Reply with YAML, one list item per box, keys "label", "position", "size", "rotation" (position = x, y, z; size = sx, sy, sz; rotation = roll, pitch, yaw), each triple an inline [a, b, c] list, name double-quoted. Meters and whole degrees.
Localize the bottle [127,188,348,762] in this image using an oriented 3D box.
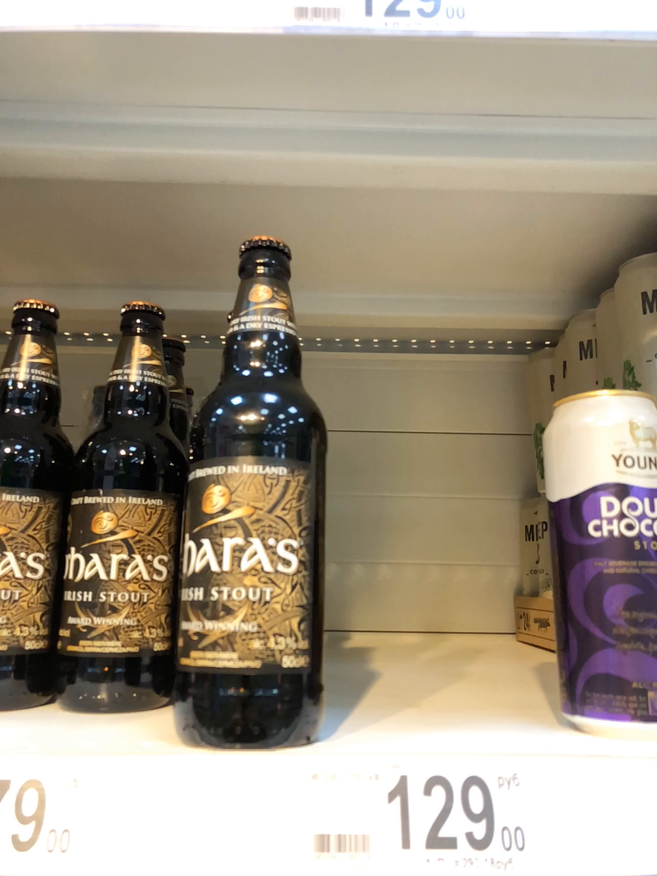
- label: "bottle"
  position: [-0.037, 0.014, 0.344]
  size: [0.070, 0.241, 0.070]
  rotation: [1, -11, 0]
